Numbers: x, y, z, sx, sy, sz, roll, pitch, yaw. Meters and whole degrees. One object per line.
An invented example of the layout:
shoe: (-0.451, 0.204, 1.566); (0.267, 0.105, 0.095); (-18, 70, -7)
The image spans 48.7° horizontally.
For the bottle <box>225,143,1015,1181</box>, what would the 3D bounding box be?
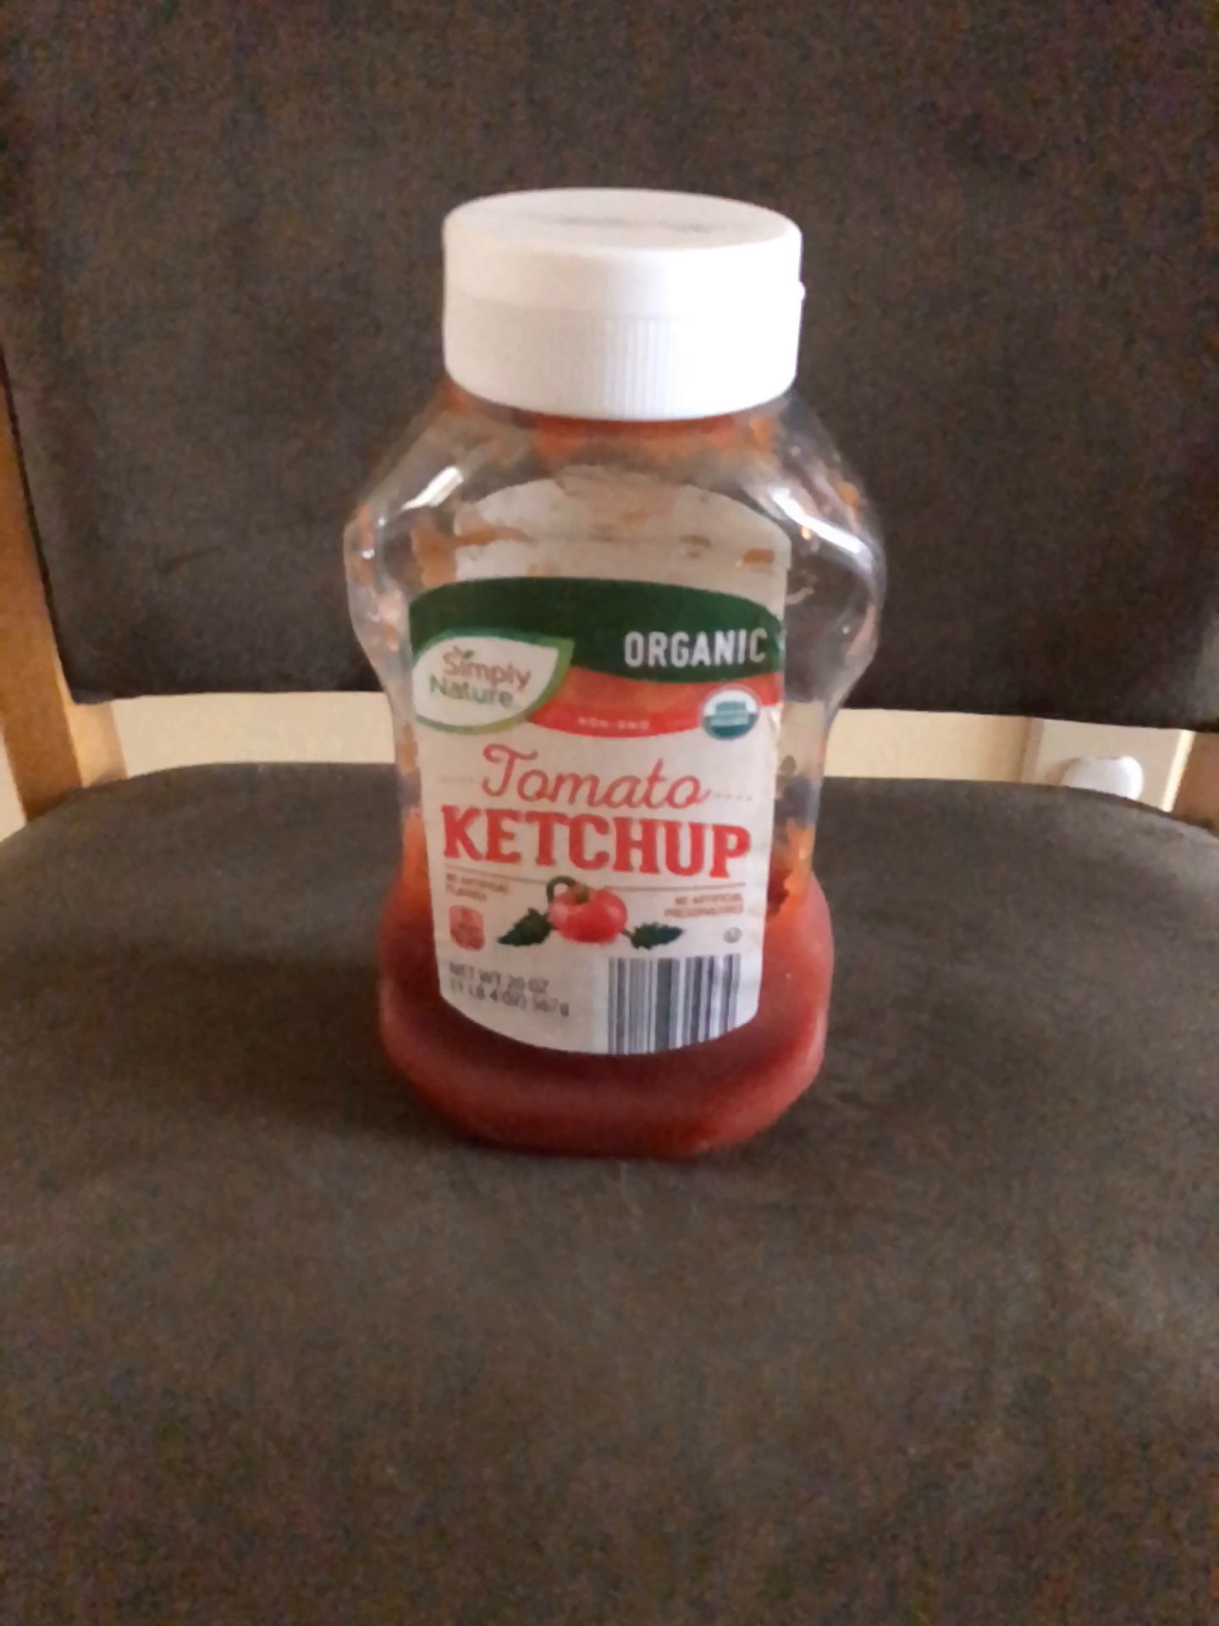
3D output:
bottle: (0.002, -0.021, 0.241); (0.100, 0.170, 0.060); (4, 33, 5)
